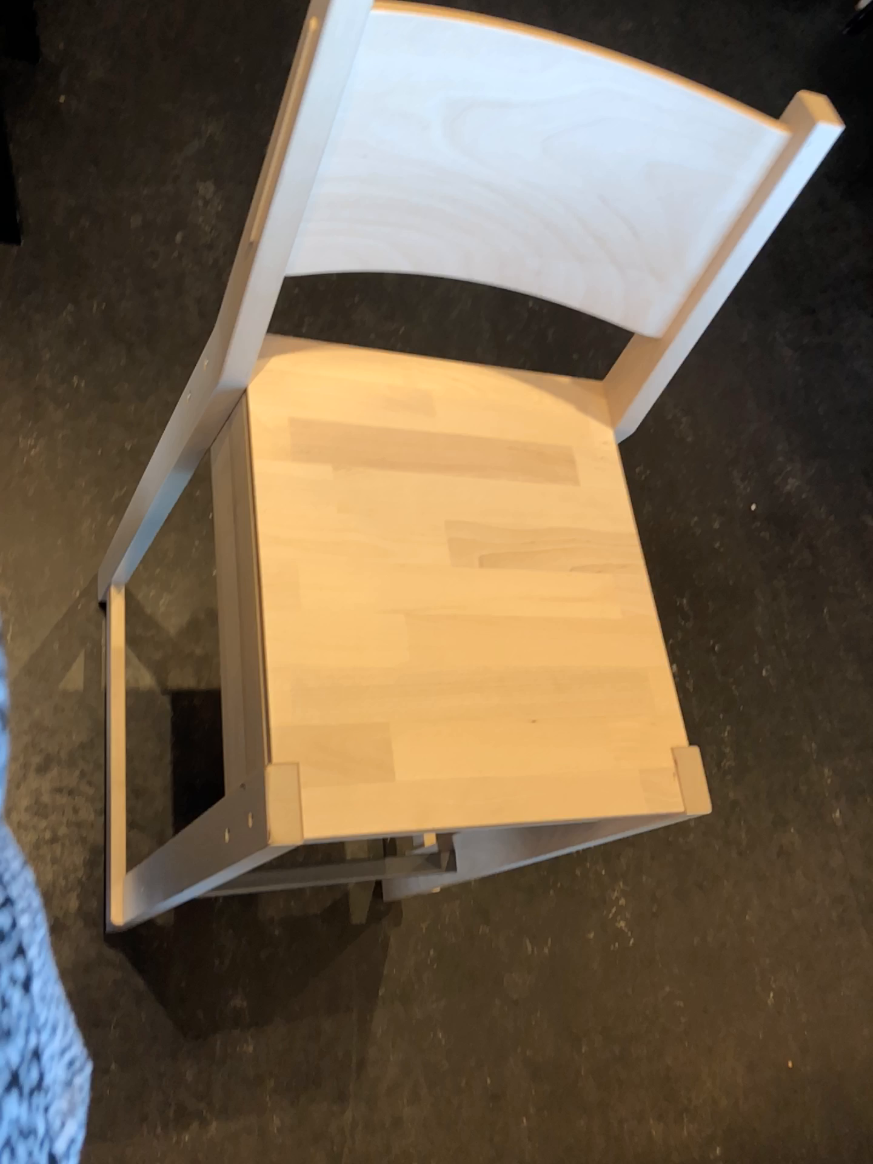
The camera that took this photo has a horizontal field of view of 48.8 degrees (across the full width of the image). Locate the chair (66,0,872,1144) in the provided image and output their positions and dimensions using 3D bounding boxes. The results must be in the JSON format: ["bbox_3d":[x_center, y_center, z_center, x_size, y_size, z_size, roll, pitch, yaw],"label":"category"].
[{"bbox_3d":[-0.048,0.087,0.849,0.461,0.978,0.540,2,67,-24],"label":"chair"}]
